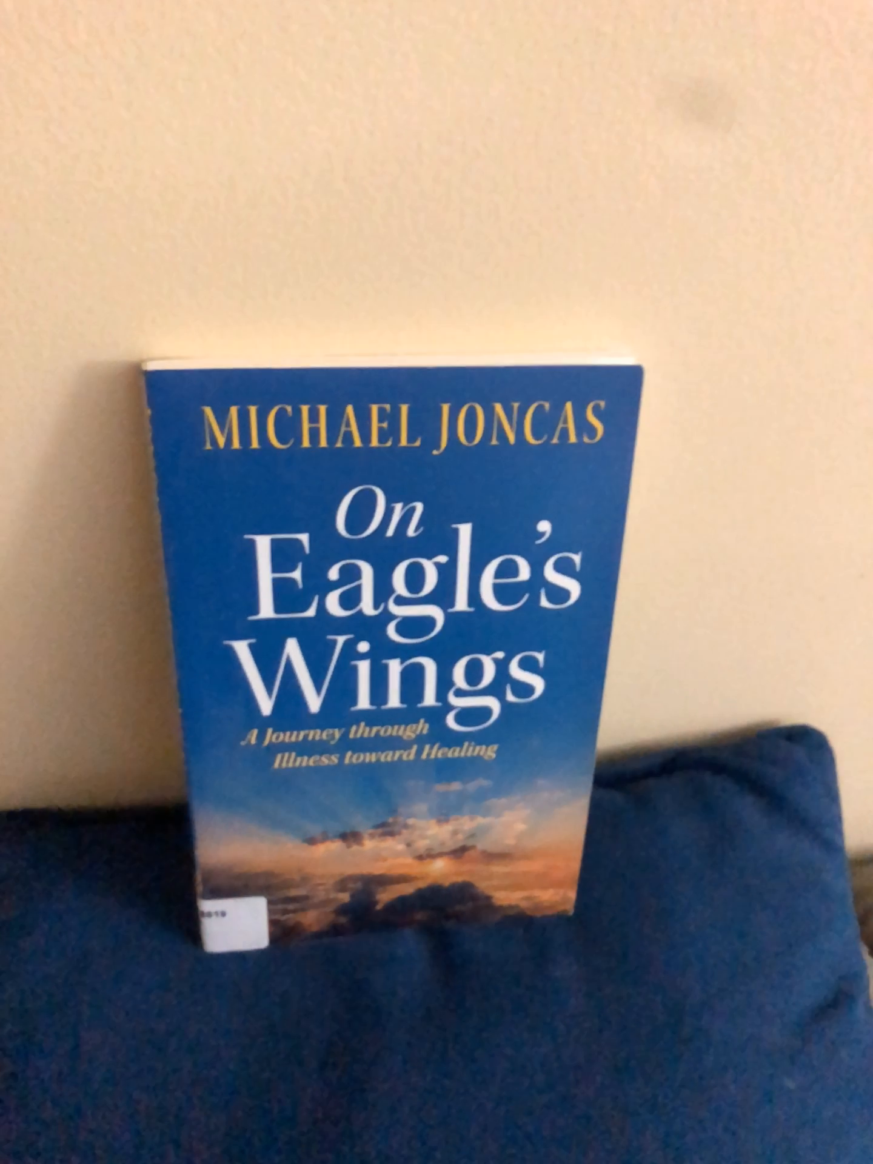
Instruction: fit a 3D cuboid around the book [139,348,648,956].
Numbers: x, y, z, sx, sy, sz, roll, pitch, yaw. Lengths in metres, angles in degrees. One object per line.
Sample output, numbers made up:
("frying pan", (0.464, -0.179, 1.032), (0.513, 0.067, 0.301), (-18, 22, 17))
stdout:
("book", (-0.014, 0.031, 0.317), (0.139, 0.210, 0.014), (-3, 26, -10))
